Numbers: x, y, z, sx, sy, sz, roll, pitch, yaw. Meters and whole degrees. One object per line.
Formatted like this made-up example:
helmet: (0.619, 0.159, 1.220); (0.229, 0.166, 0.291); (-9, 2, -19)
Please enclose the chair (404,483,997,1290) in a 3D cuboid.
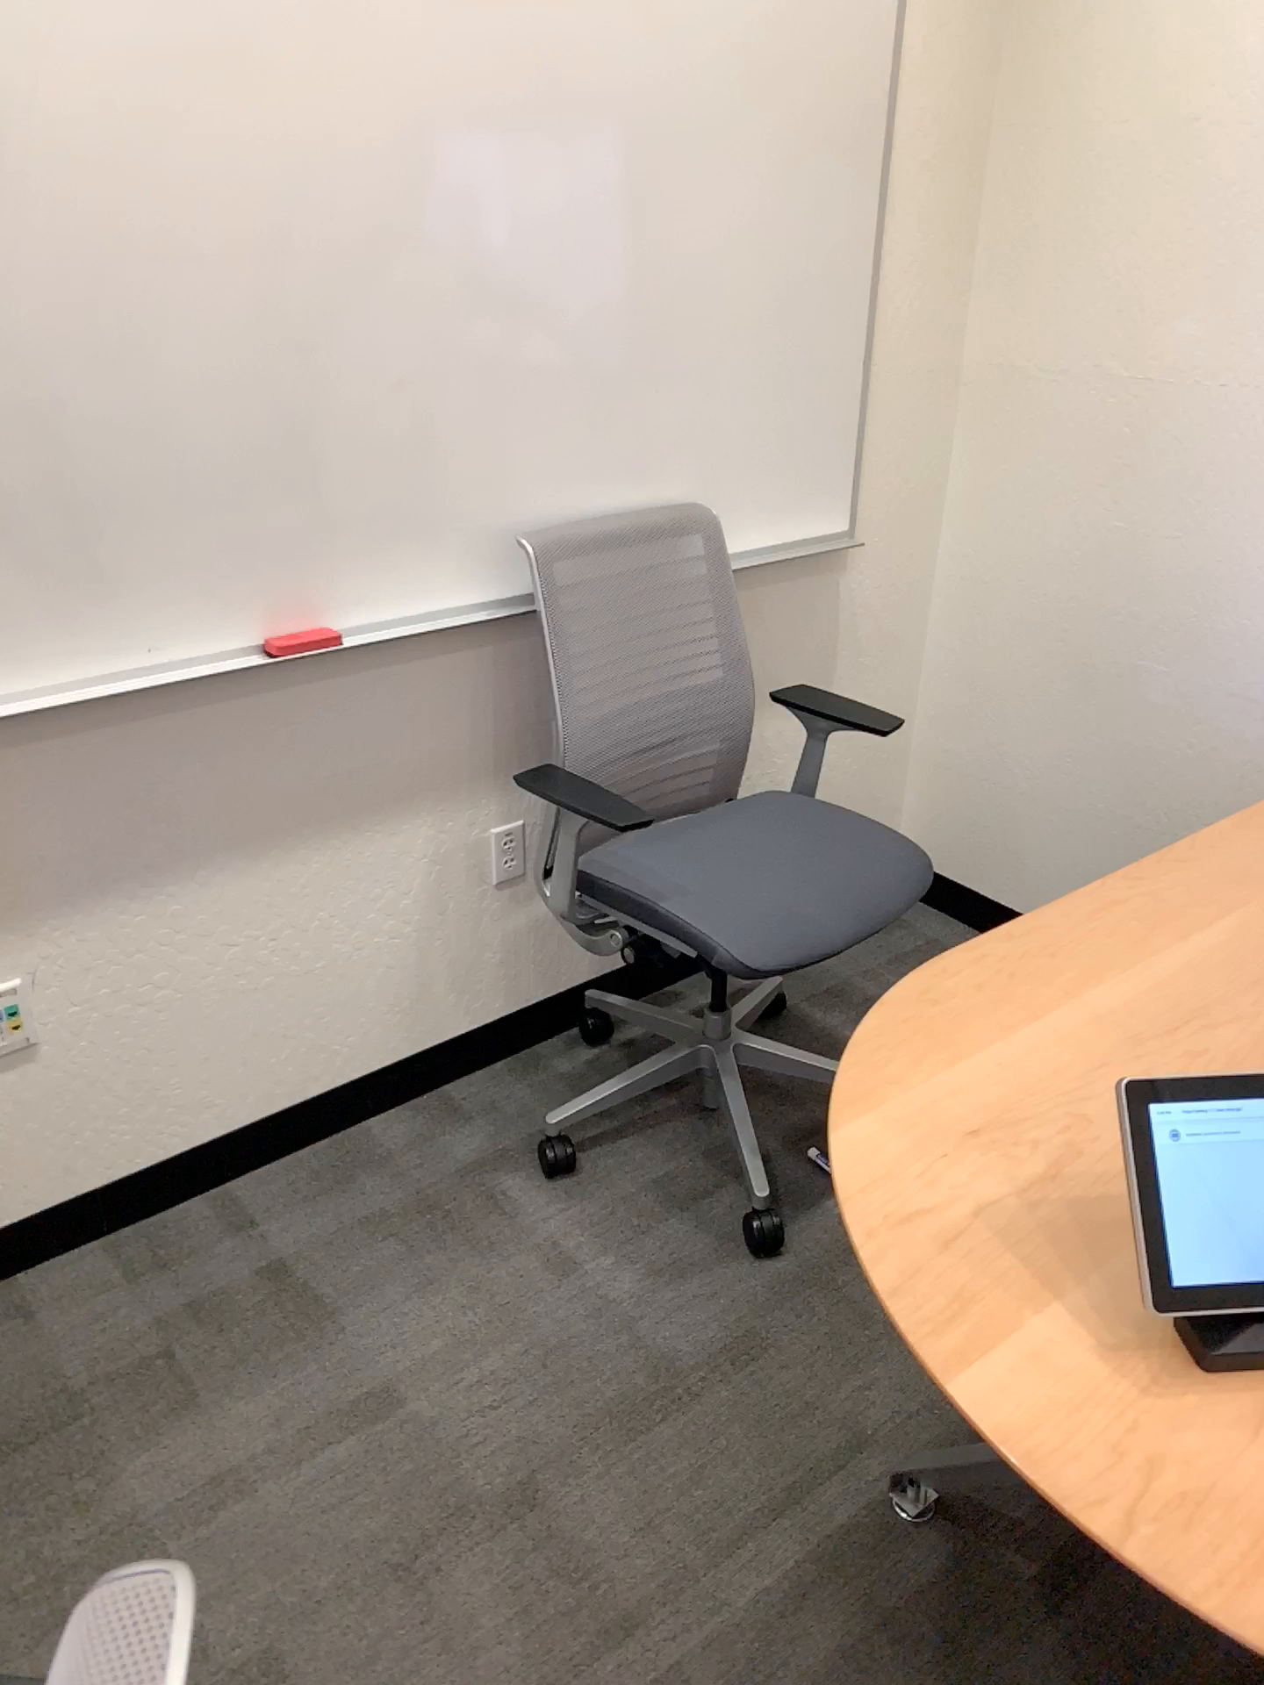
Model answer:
chair: (0.105, 0.012, 2.563); (0.761, 1.263, 0.753); (-19, 31, -39)
